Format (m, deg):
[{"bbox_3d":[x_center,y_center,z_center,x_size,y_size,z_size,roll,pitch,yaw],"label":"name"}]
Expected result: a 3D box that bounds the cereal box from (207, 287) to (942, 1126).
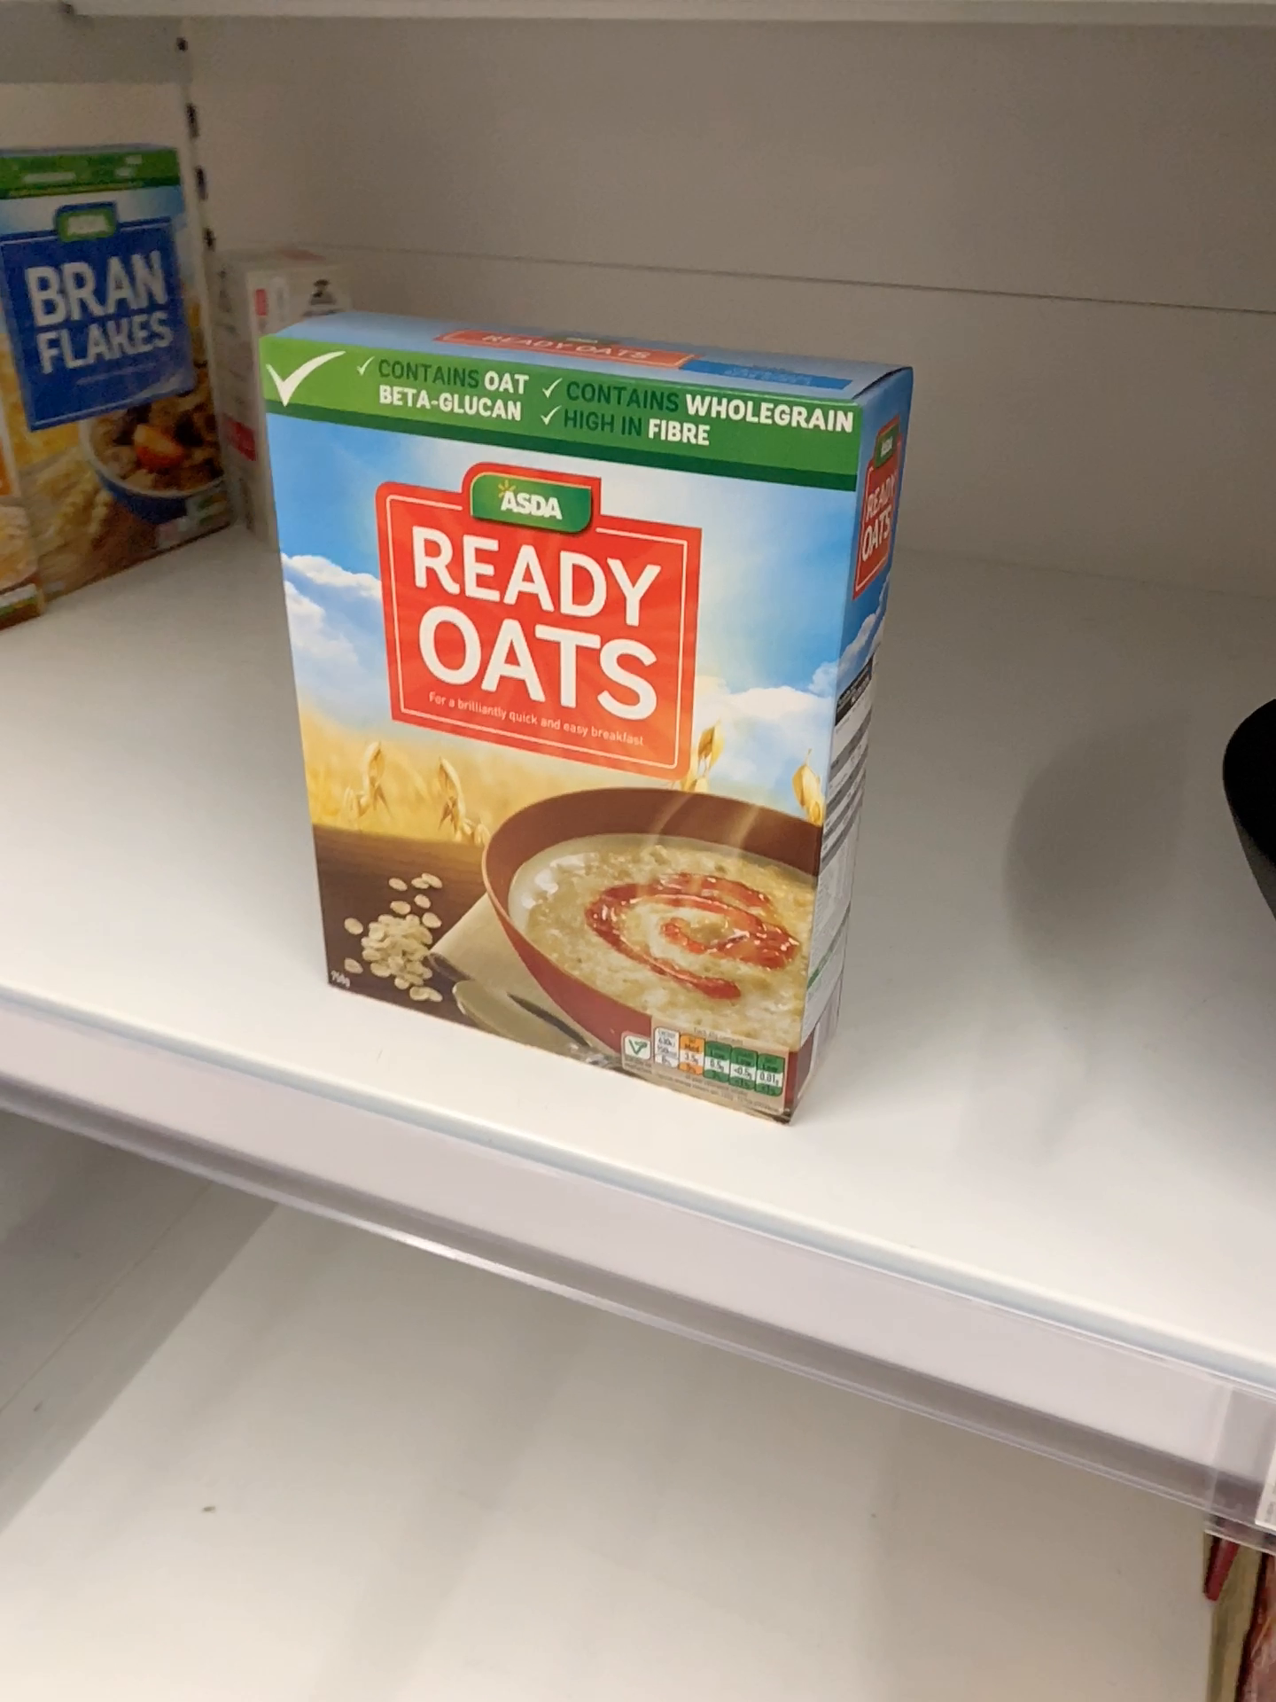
[{"bbox_3d":[-0.024,-0.054,0.480,0.220,0.258,0.081,13,32,20],"label":"cereal box"}]
